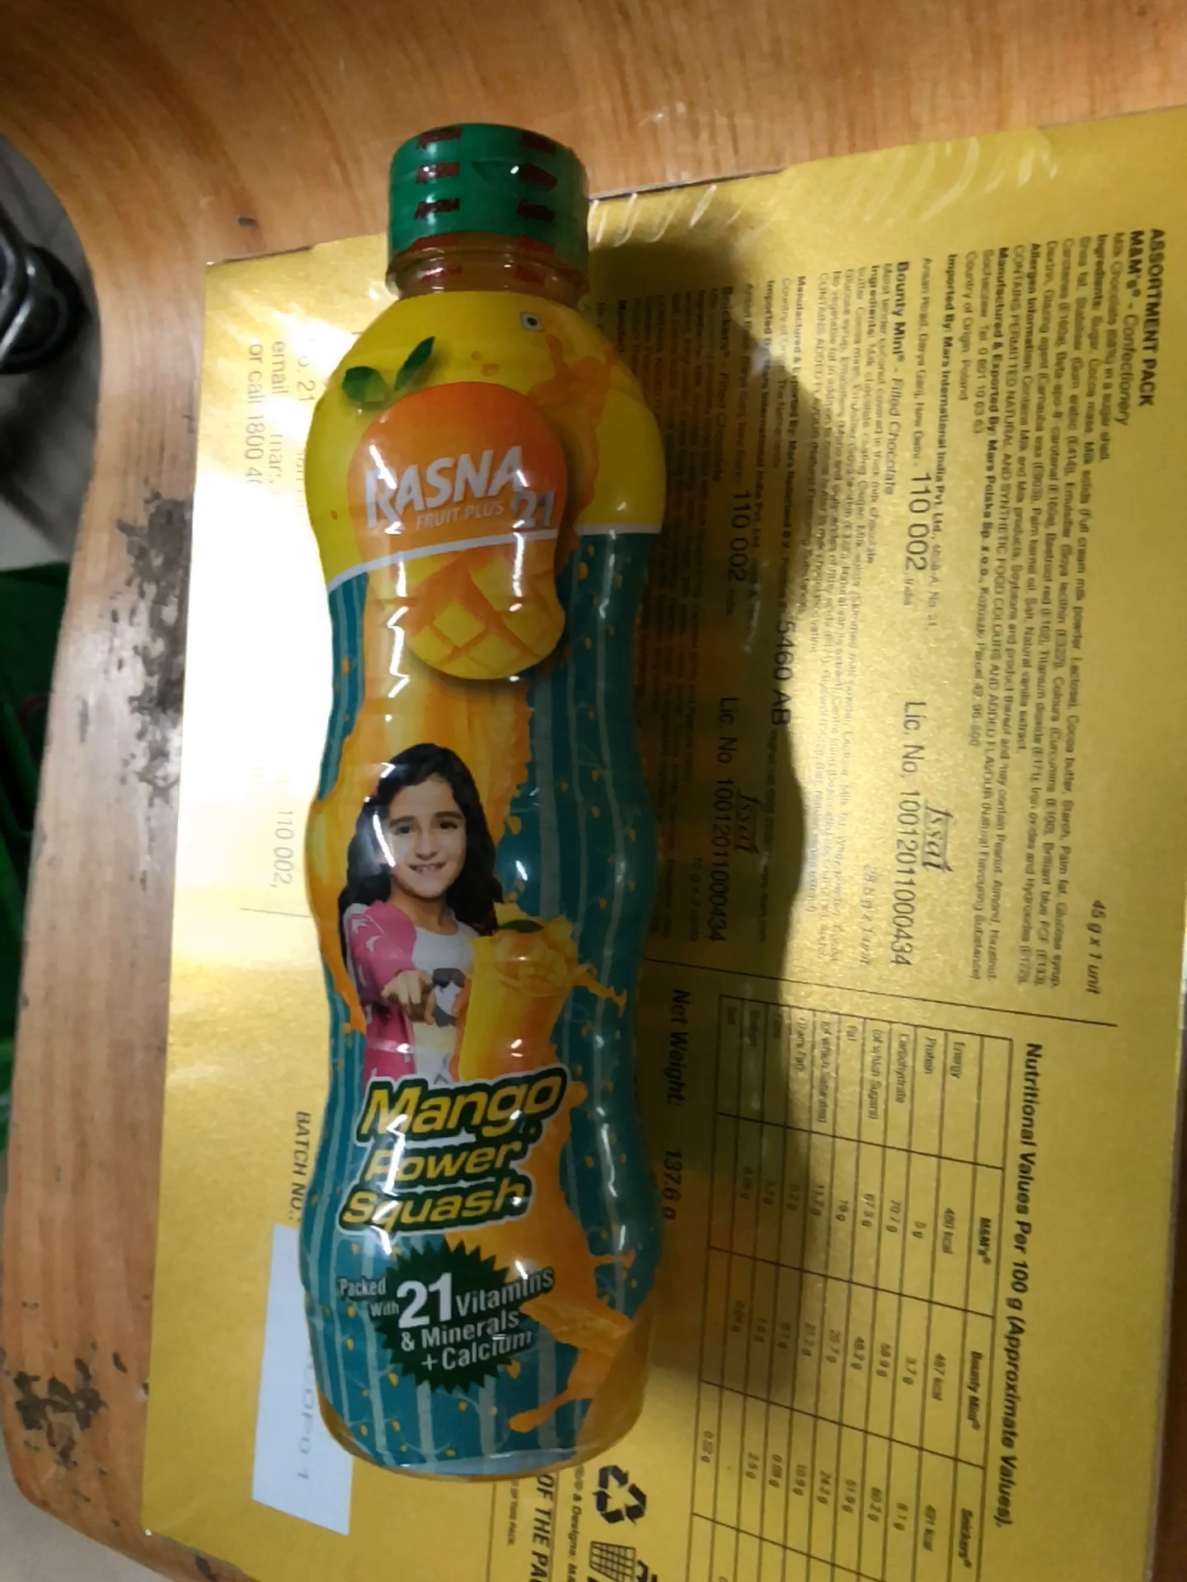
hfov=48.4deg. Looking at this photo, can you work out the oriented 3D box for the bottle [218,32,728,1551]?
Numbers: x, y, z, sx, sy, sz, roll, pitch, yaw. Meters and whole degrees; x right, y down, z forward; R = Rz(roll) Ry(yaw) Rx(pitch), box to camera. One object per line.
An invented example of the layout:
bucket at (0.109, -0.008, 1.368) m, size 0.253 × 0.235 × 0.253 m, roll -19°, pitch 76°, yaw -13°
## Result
bottle at (-0.020, 0.000, 0.256) m, size 0.080 × 0.050 × 0.260 m, roll 3°, pitch 92°, yaw 8°
